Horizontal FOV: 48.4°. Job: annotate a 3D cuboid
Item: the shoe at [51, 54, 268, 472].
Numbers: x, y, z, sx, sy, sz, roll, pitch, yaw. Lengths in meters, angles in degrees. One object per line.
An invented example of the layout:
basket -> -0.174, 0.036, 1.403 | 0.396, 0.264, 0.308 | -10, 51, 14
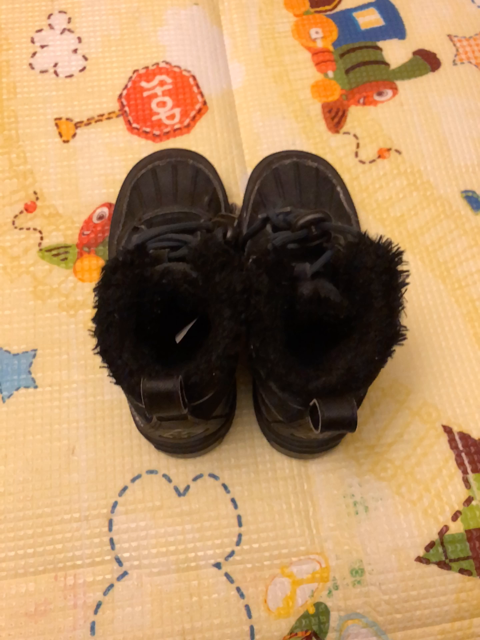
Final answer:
shoe -> -0.040, -0.027, 0.315 | 0.090, 0.120, 0.211 | -3, 70, -2

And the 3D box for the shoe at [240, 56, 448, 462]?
shoe -> 0.047, -0.032, 0.326 | 0.090, 0.110, 0.221 | 1, 70, -1
